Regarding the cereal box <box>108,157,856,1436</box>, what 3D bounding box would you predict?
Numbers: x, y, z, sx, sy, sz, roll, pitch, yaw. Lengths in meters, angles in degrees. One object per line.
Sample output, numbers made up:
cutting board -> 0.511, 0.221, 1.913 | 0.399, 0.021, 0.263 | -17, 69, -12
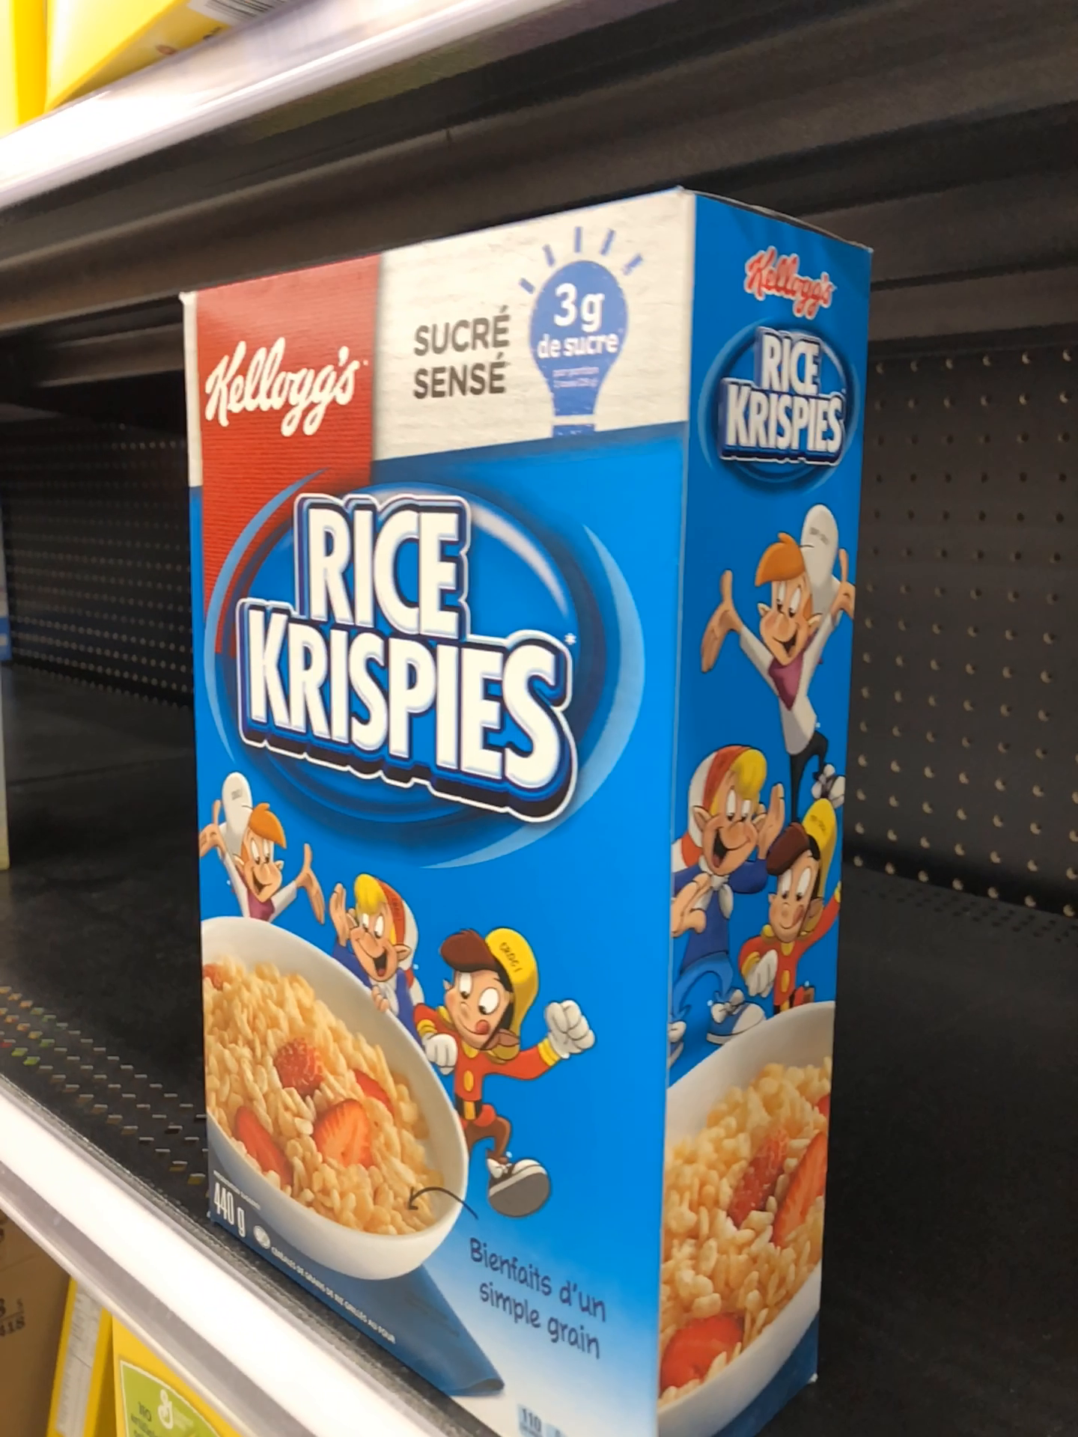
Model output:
cereal box -> -0.029, 0.028, 0.338 | 0.200, 0.299, 0.080 | 9, 12, 42
